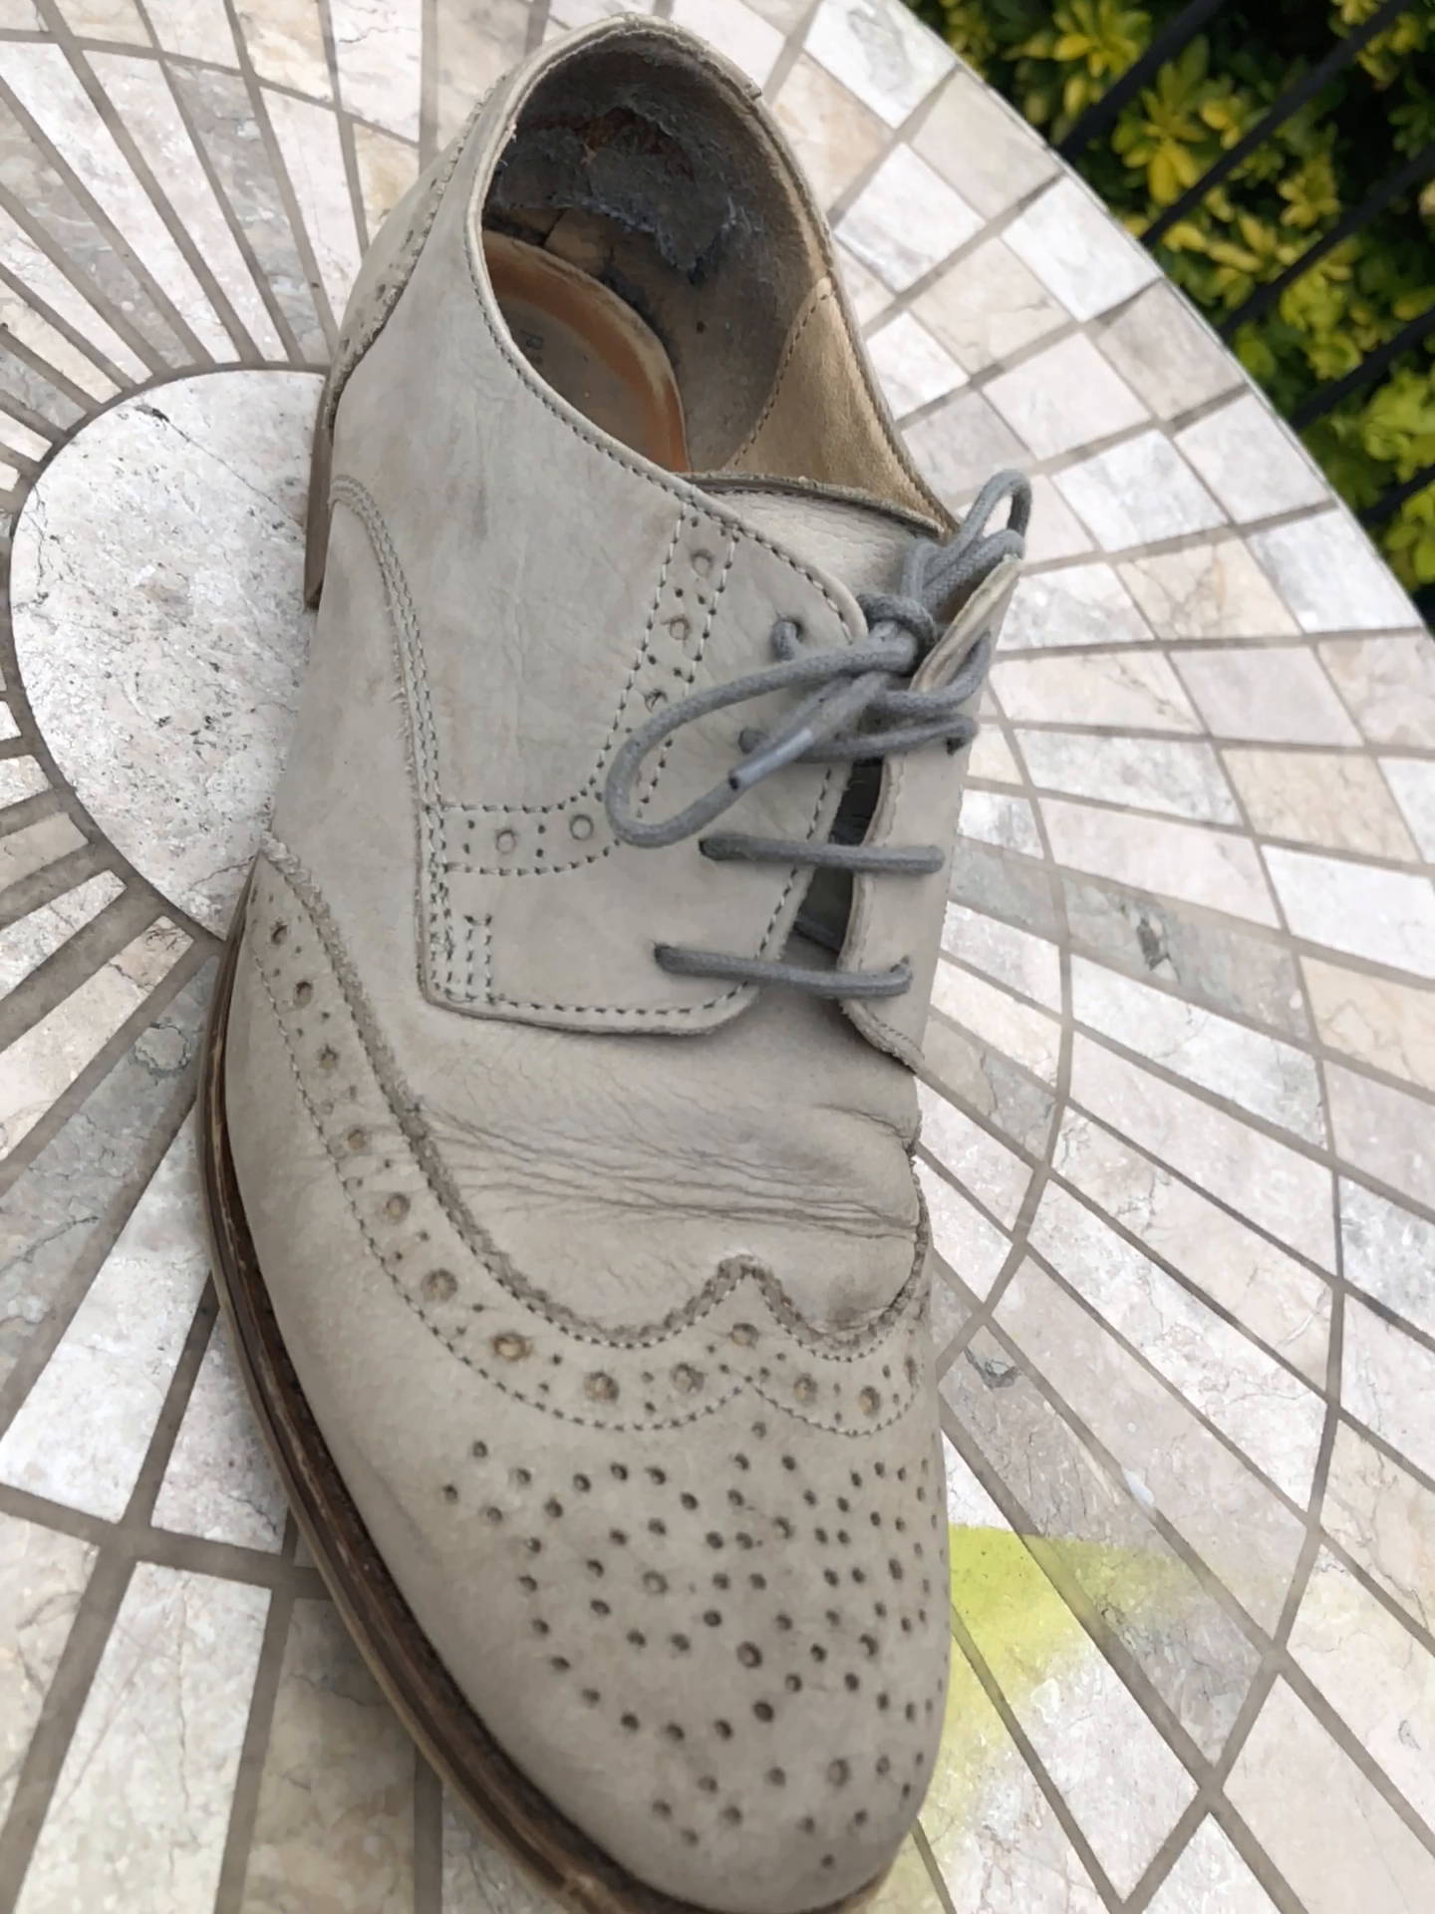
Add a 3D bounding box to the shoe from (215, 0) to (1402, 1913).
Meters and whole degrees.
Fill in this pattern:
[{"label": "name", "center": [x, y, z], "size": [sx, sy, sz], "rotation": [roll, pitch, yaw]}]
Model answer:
[{"label": "shoe", "center": [-0.009, -0.016, 0.214], "size": [0.090, 0.078, 0.257], "rotation": [9, 59, -32]}]
